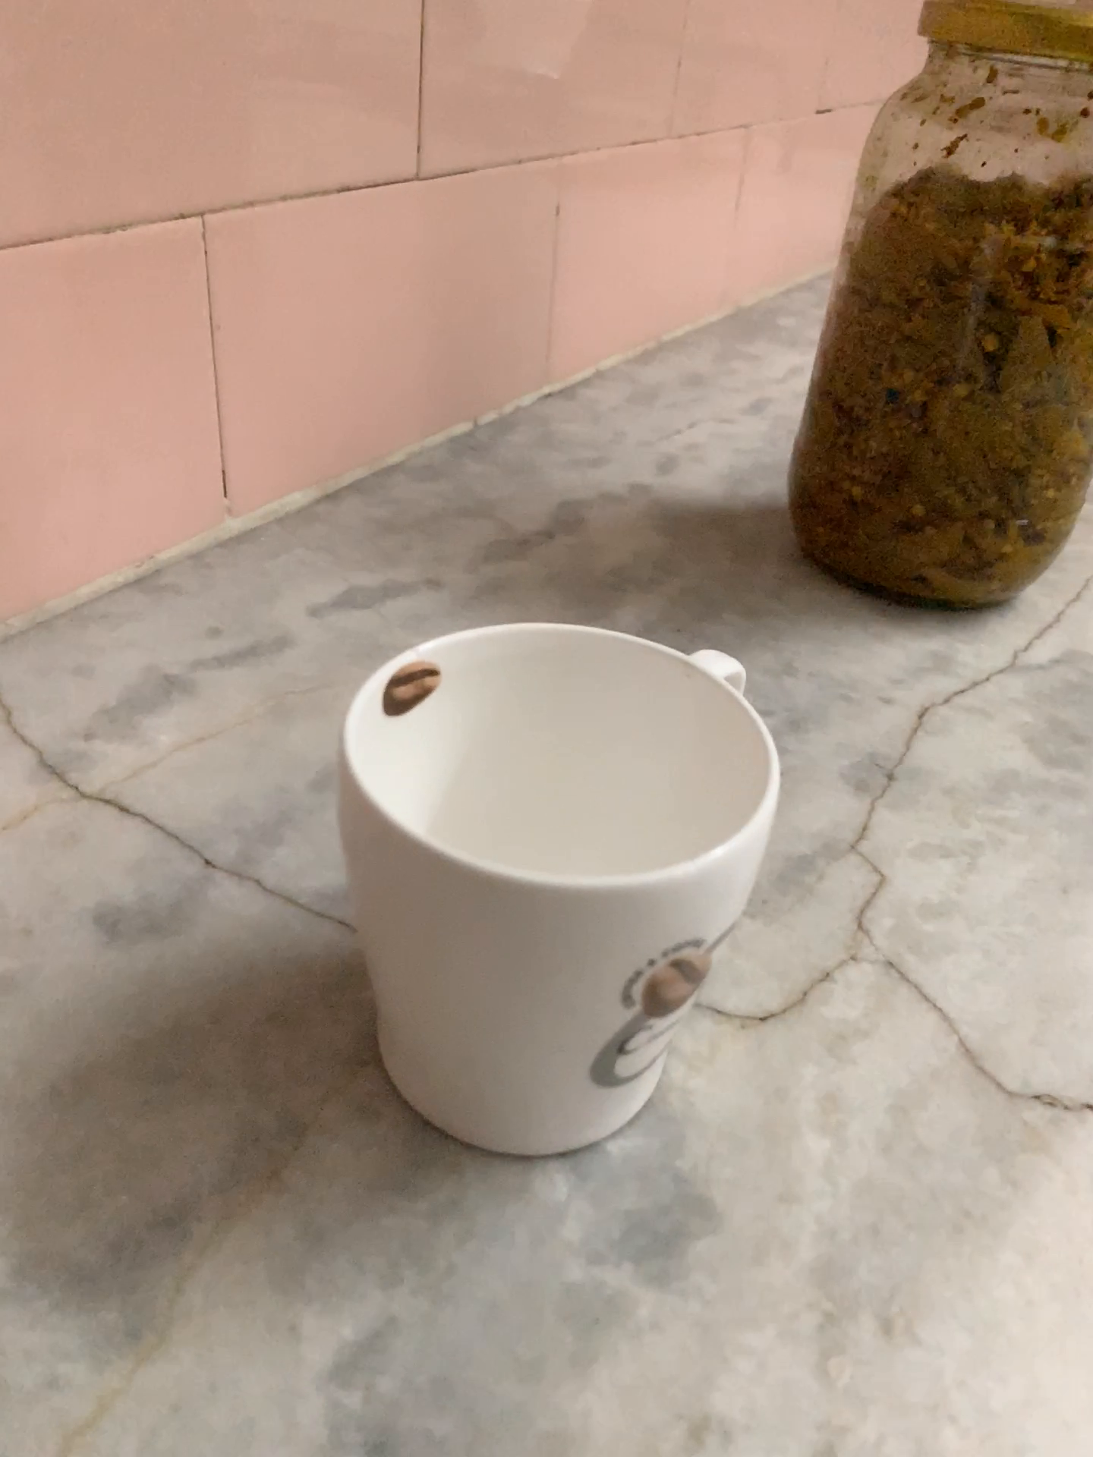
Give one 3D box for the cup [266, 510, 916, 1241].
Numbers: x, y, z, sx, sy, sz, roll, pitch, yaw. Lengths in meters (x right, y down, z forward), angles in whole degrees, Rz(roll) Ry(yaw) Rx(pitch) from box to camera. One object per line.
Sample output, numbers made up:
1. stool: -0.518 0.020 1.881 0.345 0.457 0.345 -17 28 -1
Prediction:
1. cup: 0.011 0.018 0.209 0.070 0.070 0.100 22 38 22
